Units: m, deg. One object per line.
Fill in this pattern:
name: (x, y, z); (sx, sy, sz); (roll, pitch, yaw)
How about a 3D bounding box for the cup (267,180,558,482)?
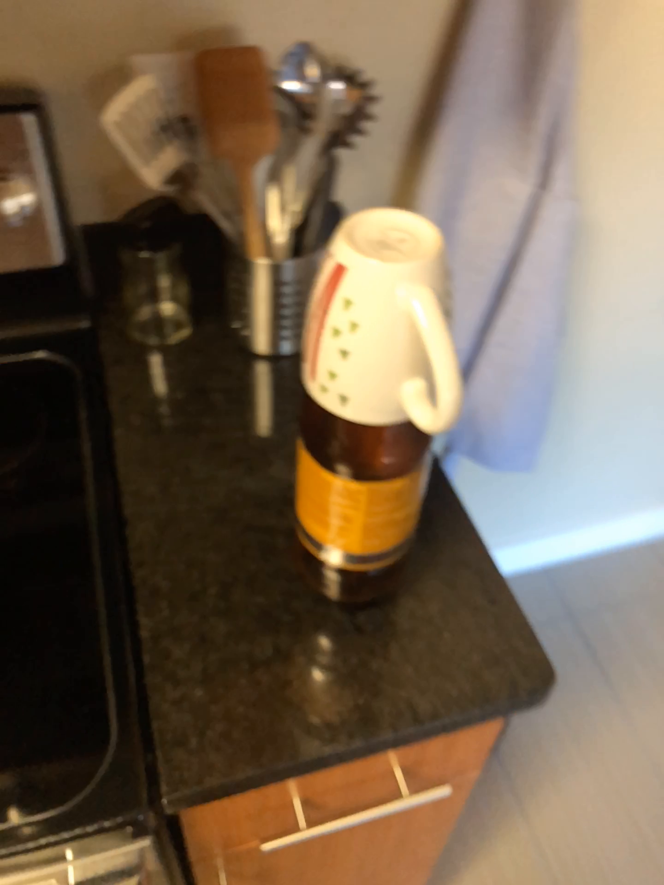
cup: (0.042, -0.076, 0.476); (0.100, 0.109, 0.140); (-28, 52, -30)
